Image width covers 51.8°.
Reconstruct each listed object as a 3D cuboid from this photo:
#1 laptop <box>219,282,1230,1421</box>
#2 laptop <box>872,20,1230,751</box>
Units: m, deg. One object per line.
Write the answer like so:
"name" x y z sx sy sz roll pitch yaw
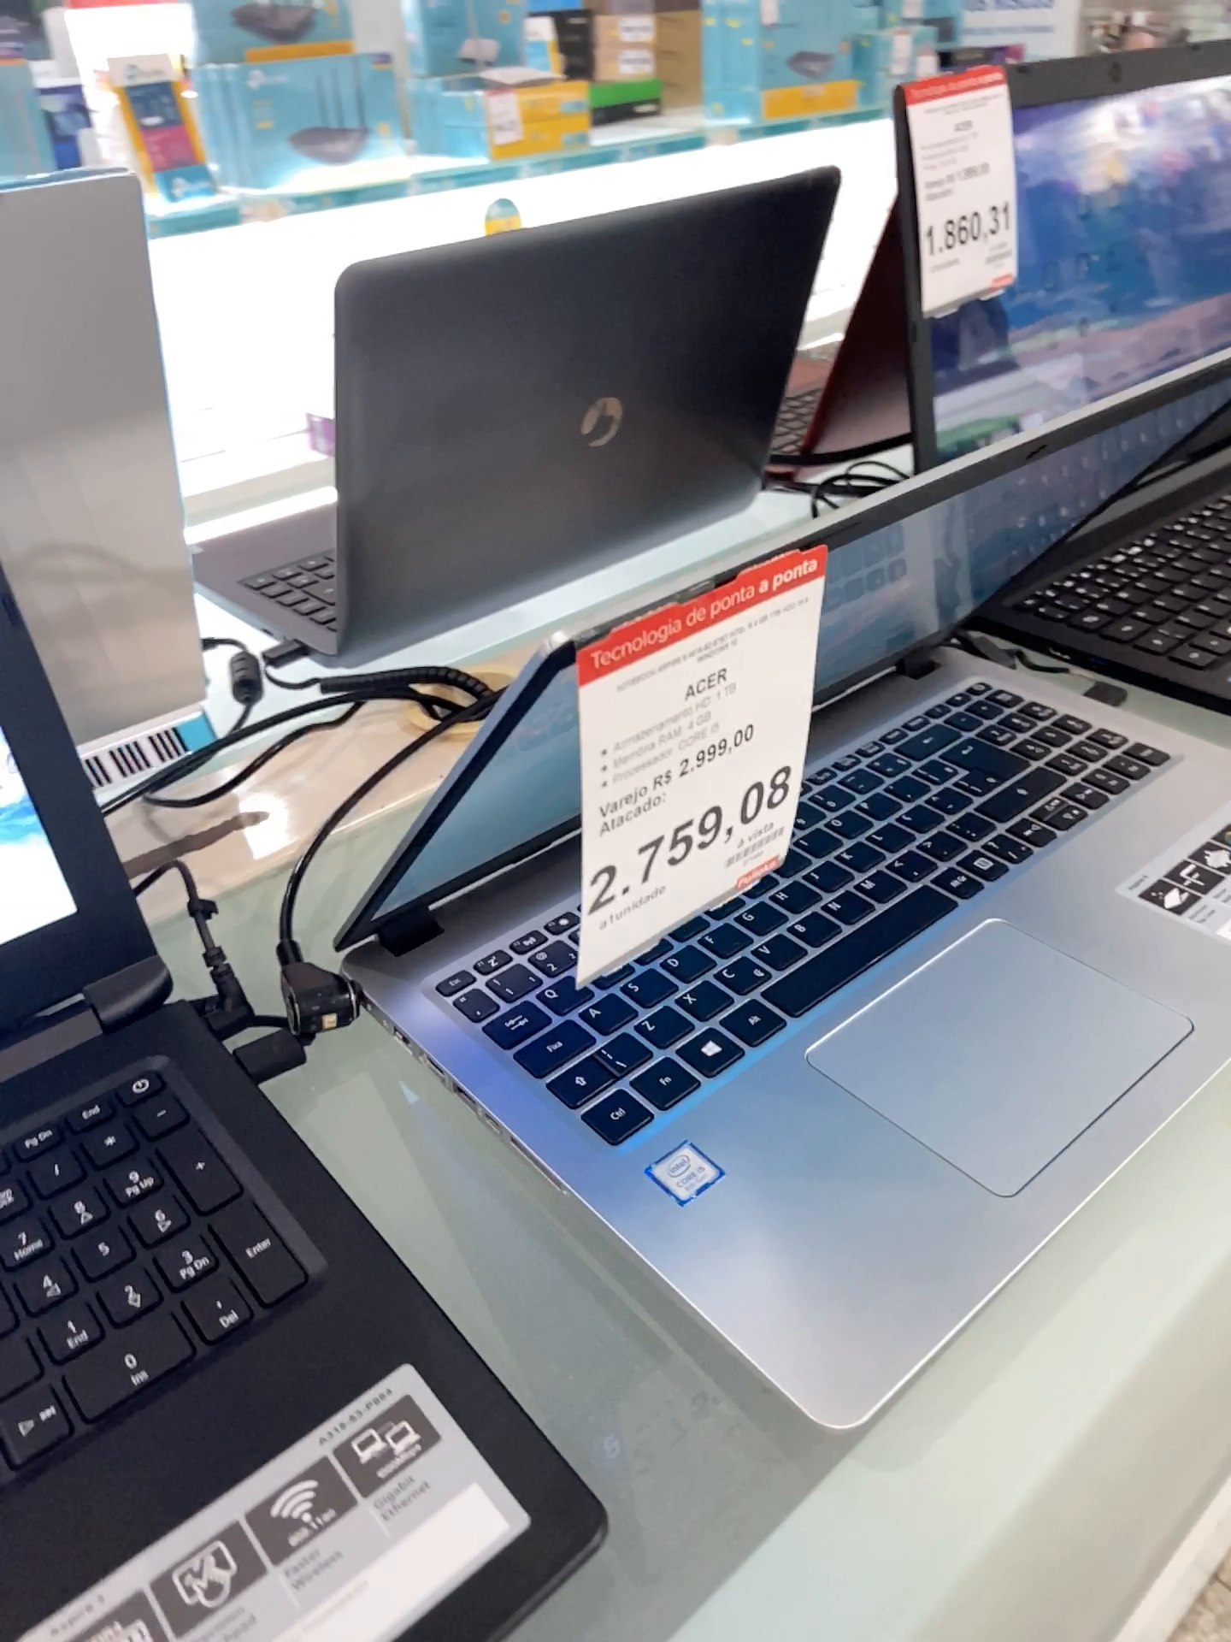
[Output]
"laptop" 0.102 -0.046 0.427 0.353 0.175 0.237 -28 40 -33
"laptop" 0.372 -0.256 0.658 0.355 0.238 0.288 -28 40 -31
